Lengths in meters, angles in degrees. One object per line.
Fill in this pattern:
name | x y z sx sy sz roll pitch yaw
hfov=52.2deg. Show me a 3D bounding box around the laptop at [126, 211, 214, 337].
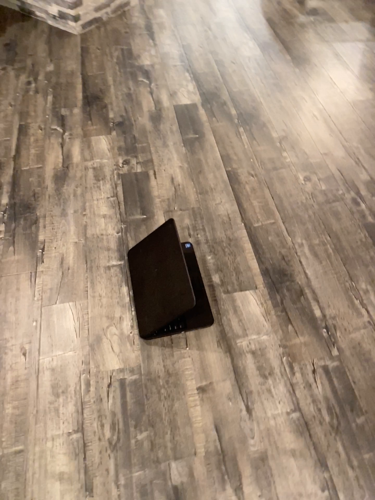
laptop | -0.070 0.076 1.330 0.230 0.170 0.354 -11 55 -7
